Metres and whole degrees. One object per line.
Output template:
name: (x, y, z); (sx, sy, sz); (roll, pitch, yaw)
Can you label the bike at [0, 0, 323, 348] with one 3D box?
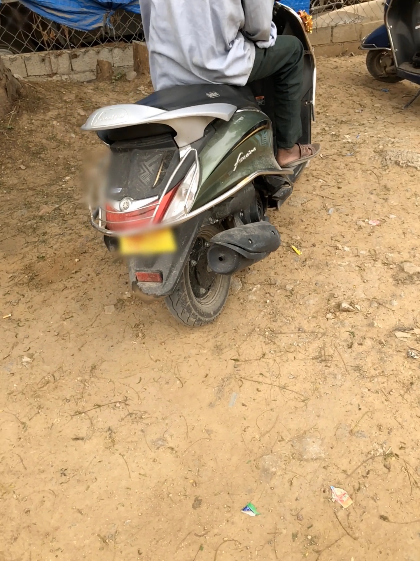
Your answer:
bike: (0.001, -0.810, 2.028); (0.622, 1.054, 1.733); (10, 40, 17)
